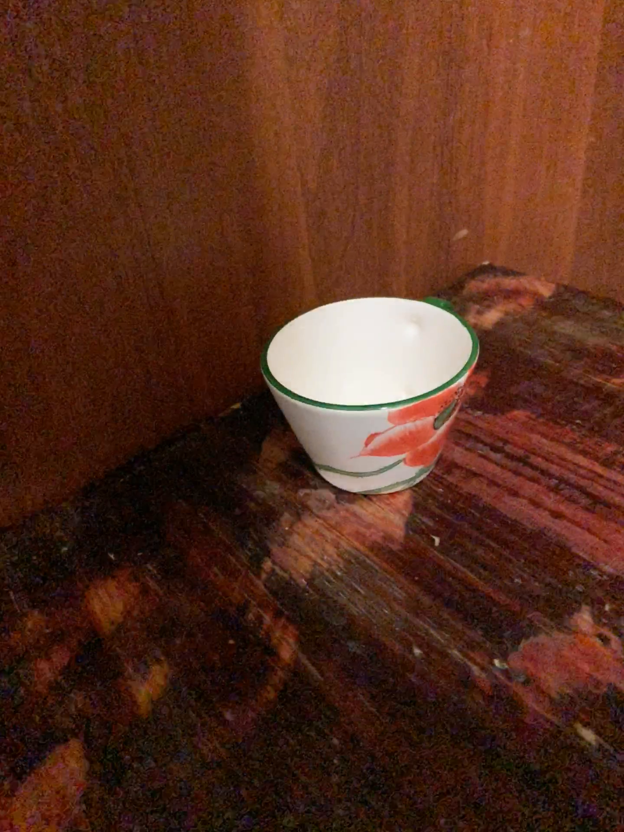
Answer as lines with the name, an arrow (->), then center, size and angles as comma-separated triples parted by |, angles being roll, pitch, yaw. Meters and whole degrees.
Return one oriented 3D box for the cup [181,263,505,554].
cup -> 0.016, -0.011, 0.240 | 0.075, 0.045, 0.095 | 17, 44, 30
